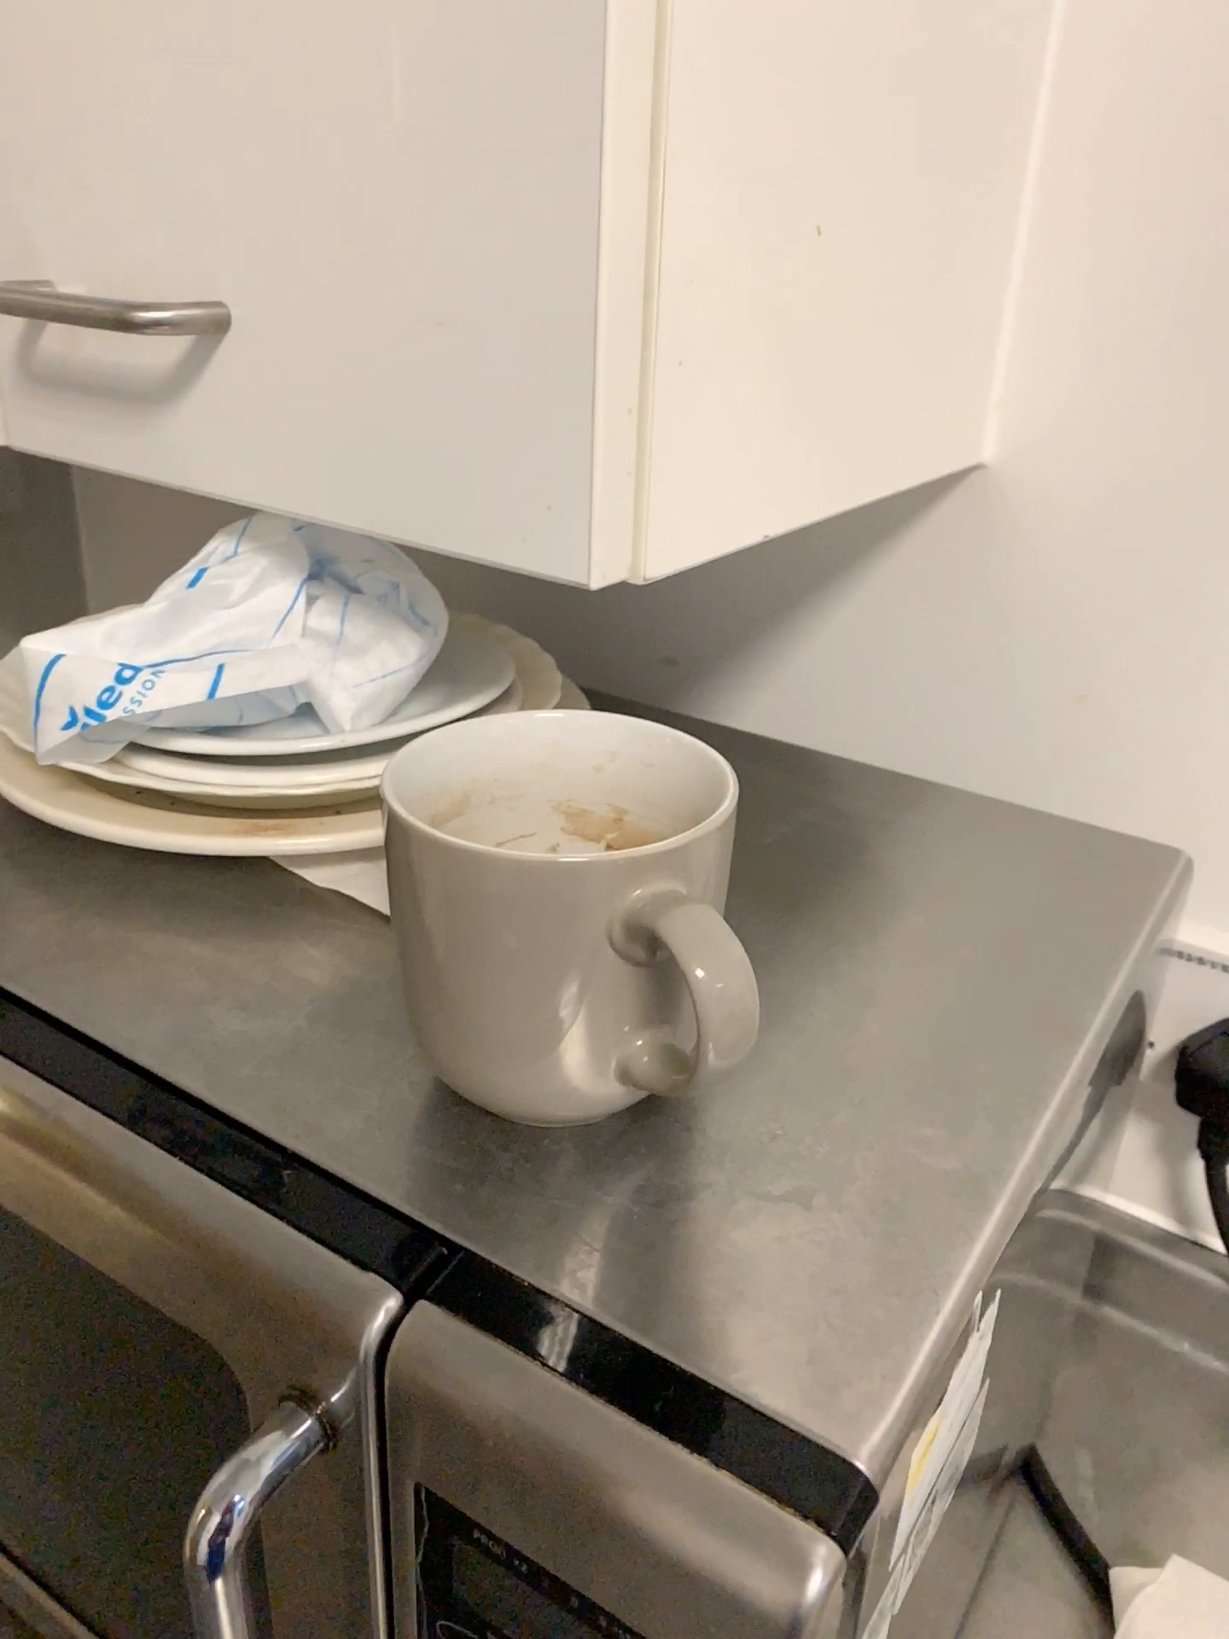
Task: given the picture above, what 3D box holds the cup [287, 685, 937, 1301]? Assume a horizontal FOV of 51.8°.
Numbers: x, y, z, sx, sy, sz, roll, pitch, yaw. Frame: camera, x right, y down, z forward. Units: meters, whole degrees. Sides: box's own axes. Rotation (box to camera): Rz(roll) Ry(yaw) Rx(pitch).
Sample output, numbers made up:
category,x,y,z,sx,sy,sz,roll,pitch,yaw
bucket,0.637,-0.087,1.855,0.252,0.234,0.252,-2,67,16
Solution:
category,x,y,z,sx,sy,sz,roll,pitch,yaw
cup,-0.006,0.030,0.321,0.101,0.079,0.124,-17,31,-36
